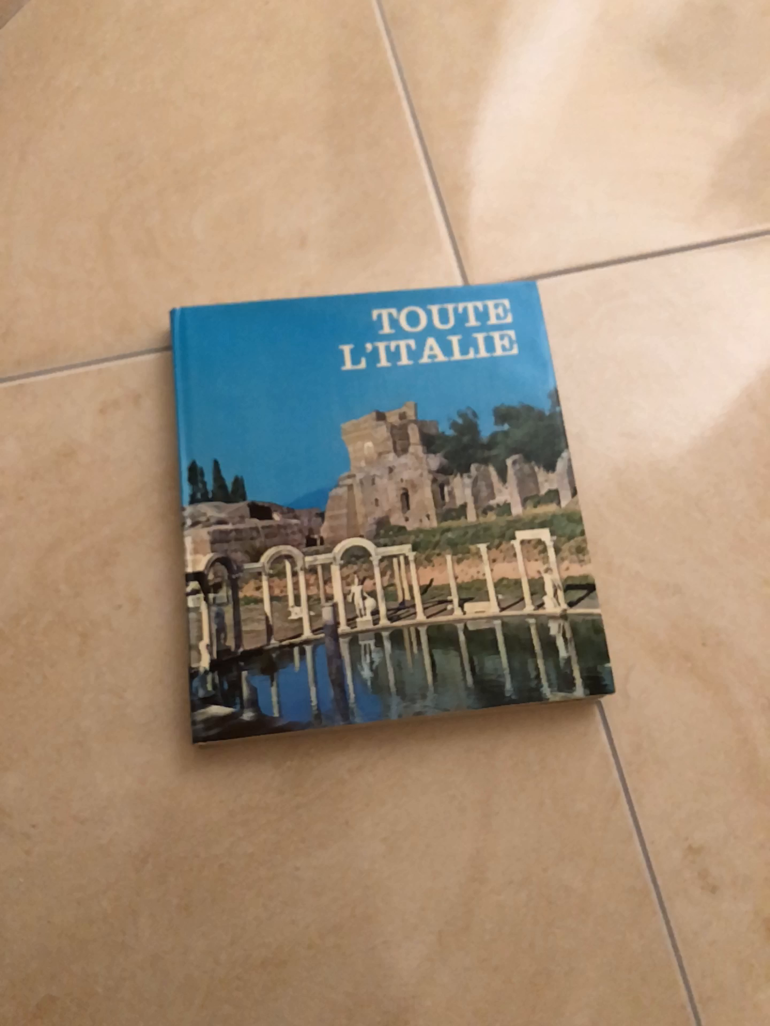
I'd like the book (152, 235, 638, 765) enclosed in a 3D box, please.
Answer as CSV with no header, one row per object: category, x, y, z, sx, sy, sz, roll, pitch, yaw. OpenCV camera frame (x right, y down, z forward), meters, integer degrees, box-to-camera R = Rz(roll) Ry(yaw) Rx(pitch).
book,-0.004,-0.017,0.507,0.240,0.050,0.290,-6,74,-5
